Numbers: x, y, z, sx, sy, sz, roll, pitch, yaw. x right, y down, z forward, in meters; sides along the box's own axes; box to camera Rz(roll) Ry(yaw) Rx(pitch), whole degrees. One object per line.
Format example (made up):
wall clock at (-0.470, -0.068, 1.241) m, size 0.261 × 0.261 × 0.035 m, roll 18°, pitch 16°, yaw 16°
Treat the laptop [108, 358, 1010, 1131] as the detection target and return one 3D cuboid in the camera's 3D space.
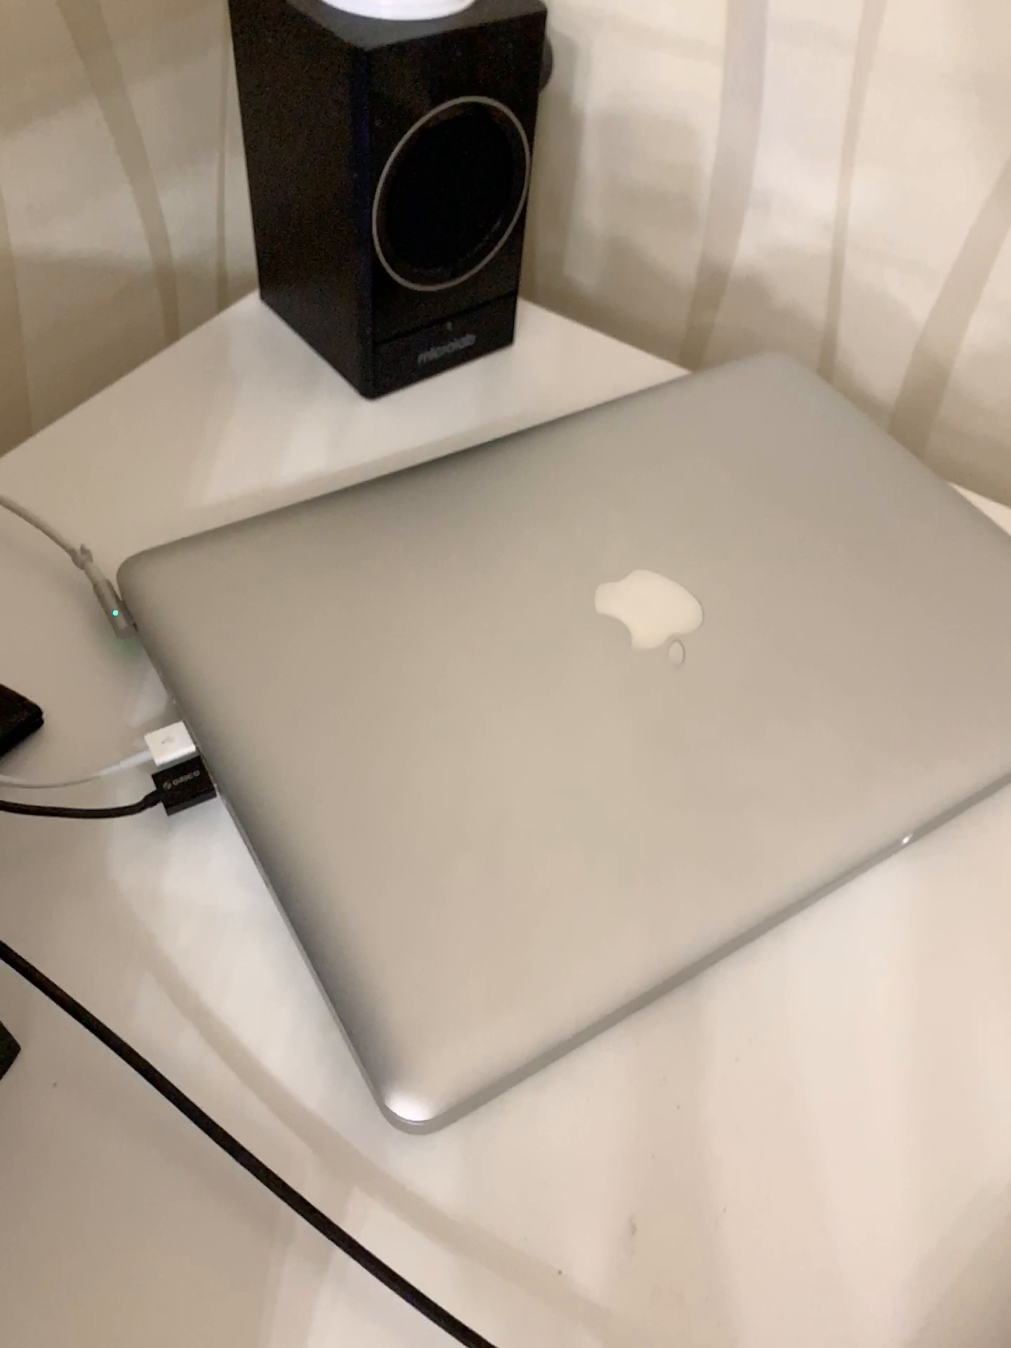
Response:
laptop at (0.045, -0.017, 0.382) m, size 0.306 × 0.007 × 0.218 m, roll -23°, pitch 58°, yaw -25°
